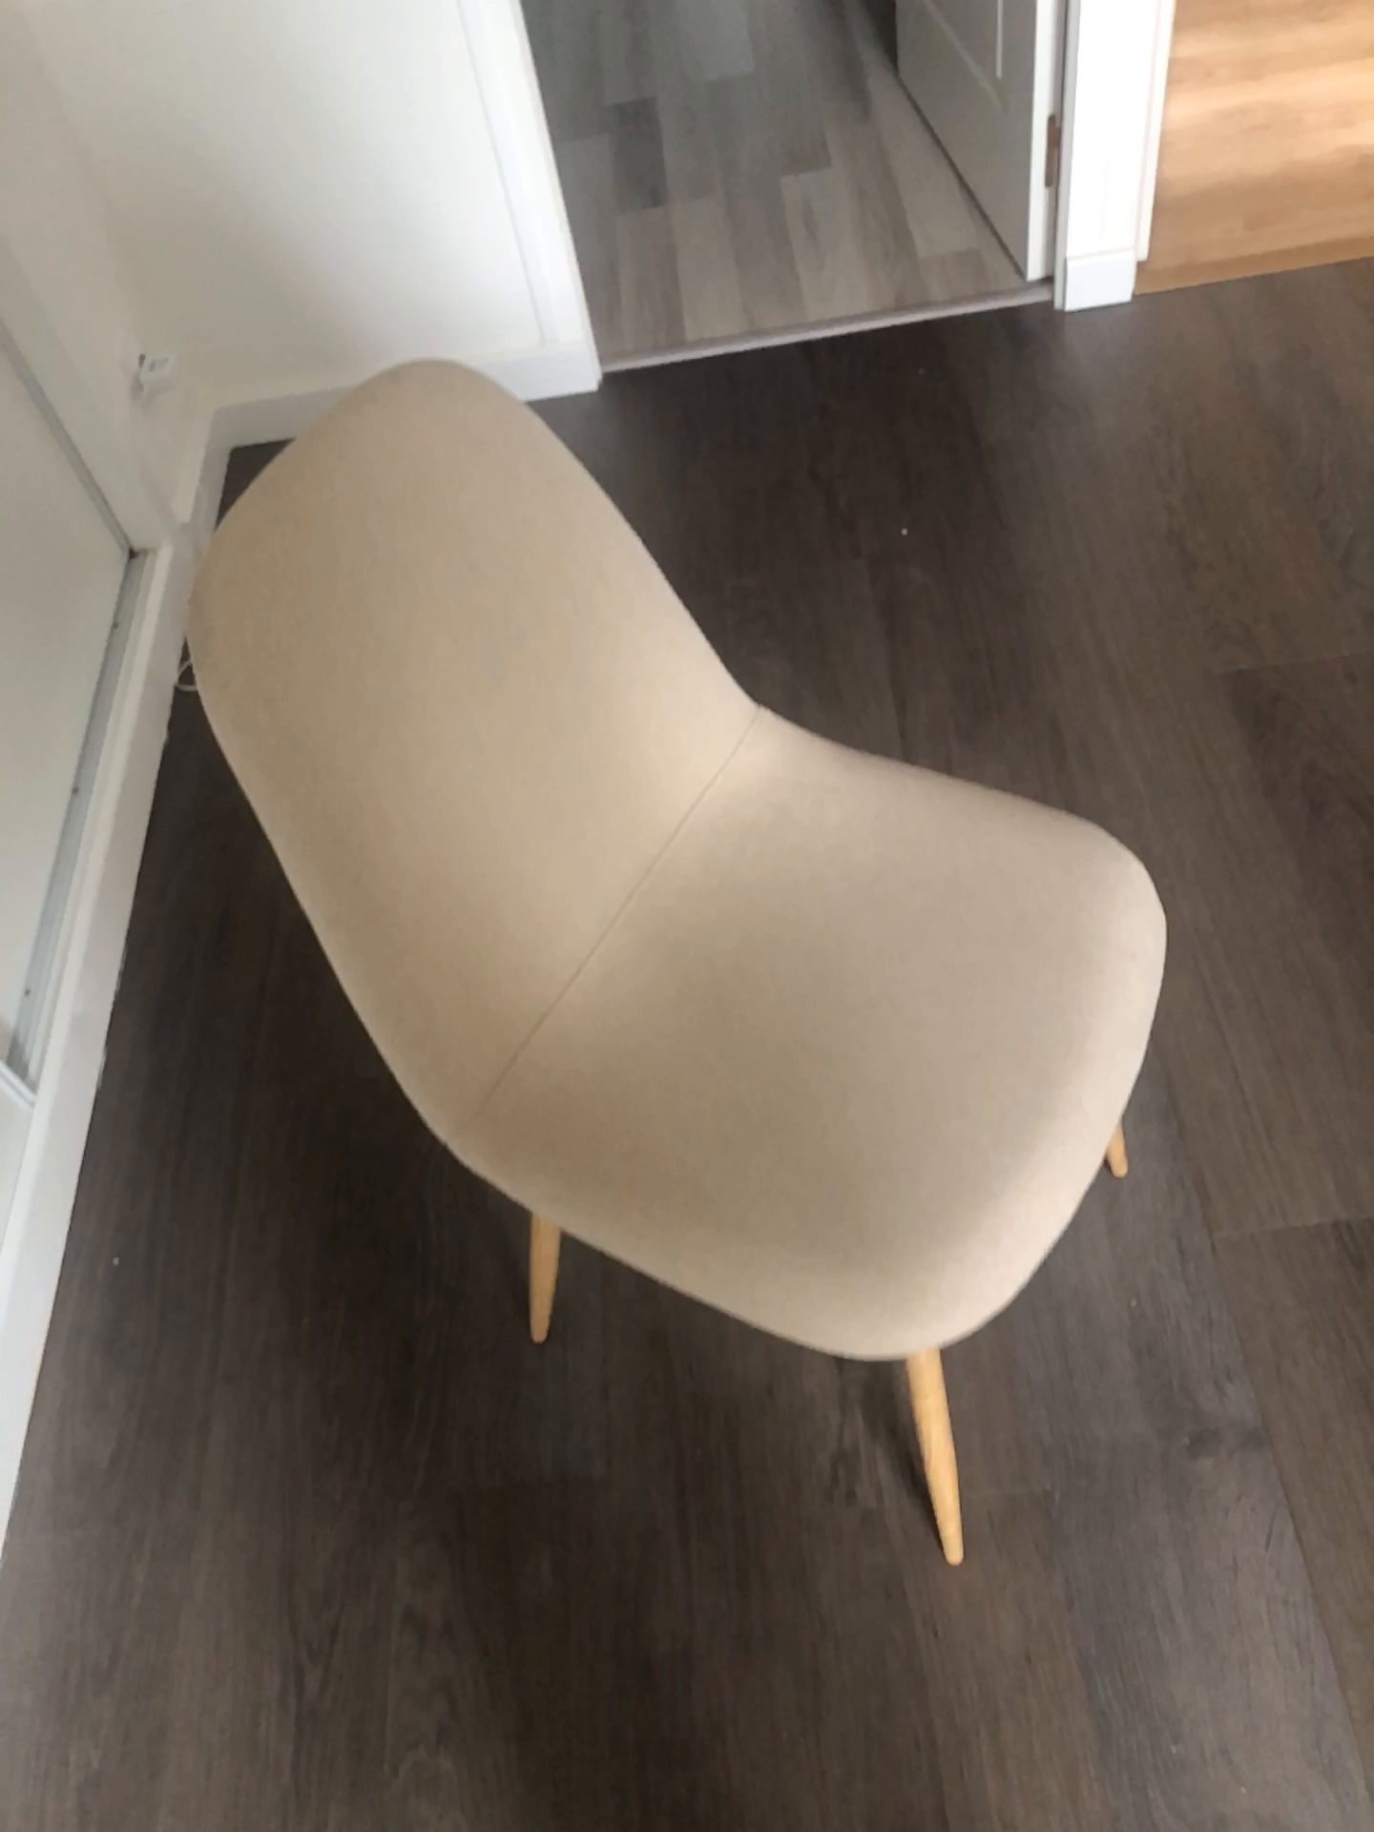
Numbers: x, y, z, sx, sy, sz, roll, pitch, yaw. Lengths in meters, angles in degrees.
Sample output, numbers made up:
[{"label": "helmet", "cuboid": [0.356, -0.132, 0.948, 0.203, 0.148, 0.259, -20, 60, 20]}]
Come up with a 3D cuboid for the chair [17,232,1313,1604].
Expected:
[{"label": "chair", "cuboid": [0.050, 0.062, 1.080, 0.500, 0.846, 0.432, 22, 60, 24]}]
